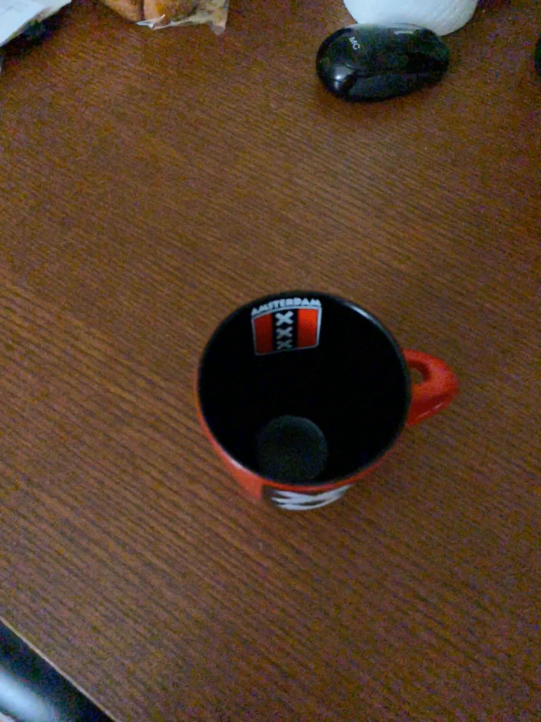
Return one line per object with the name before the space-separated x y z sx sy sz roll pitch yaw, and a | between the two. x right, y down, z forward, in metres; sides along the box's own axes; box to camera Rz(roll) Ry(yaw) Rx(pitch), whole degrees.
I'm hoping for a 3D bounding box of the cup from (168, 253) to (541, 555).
cup | 0.029 0.025 0.261 0.130 0.100 0.090 -10 64 -5
